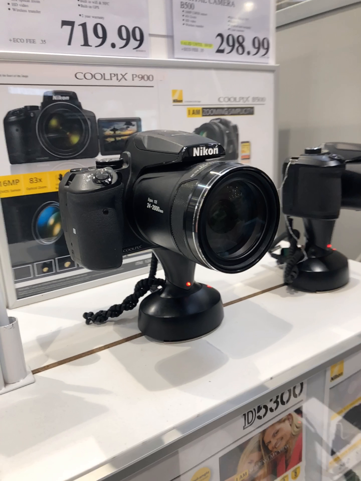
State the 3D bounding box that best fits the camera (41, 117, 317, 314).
[{"bbox_3d":[-0.005,-0.037,0.304,0.150,0.100,0.140,-13,19,-30],"label":"camera"}]
